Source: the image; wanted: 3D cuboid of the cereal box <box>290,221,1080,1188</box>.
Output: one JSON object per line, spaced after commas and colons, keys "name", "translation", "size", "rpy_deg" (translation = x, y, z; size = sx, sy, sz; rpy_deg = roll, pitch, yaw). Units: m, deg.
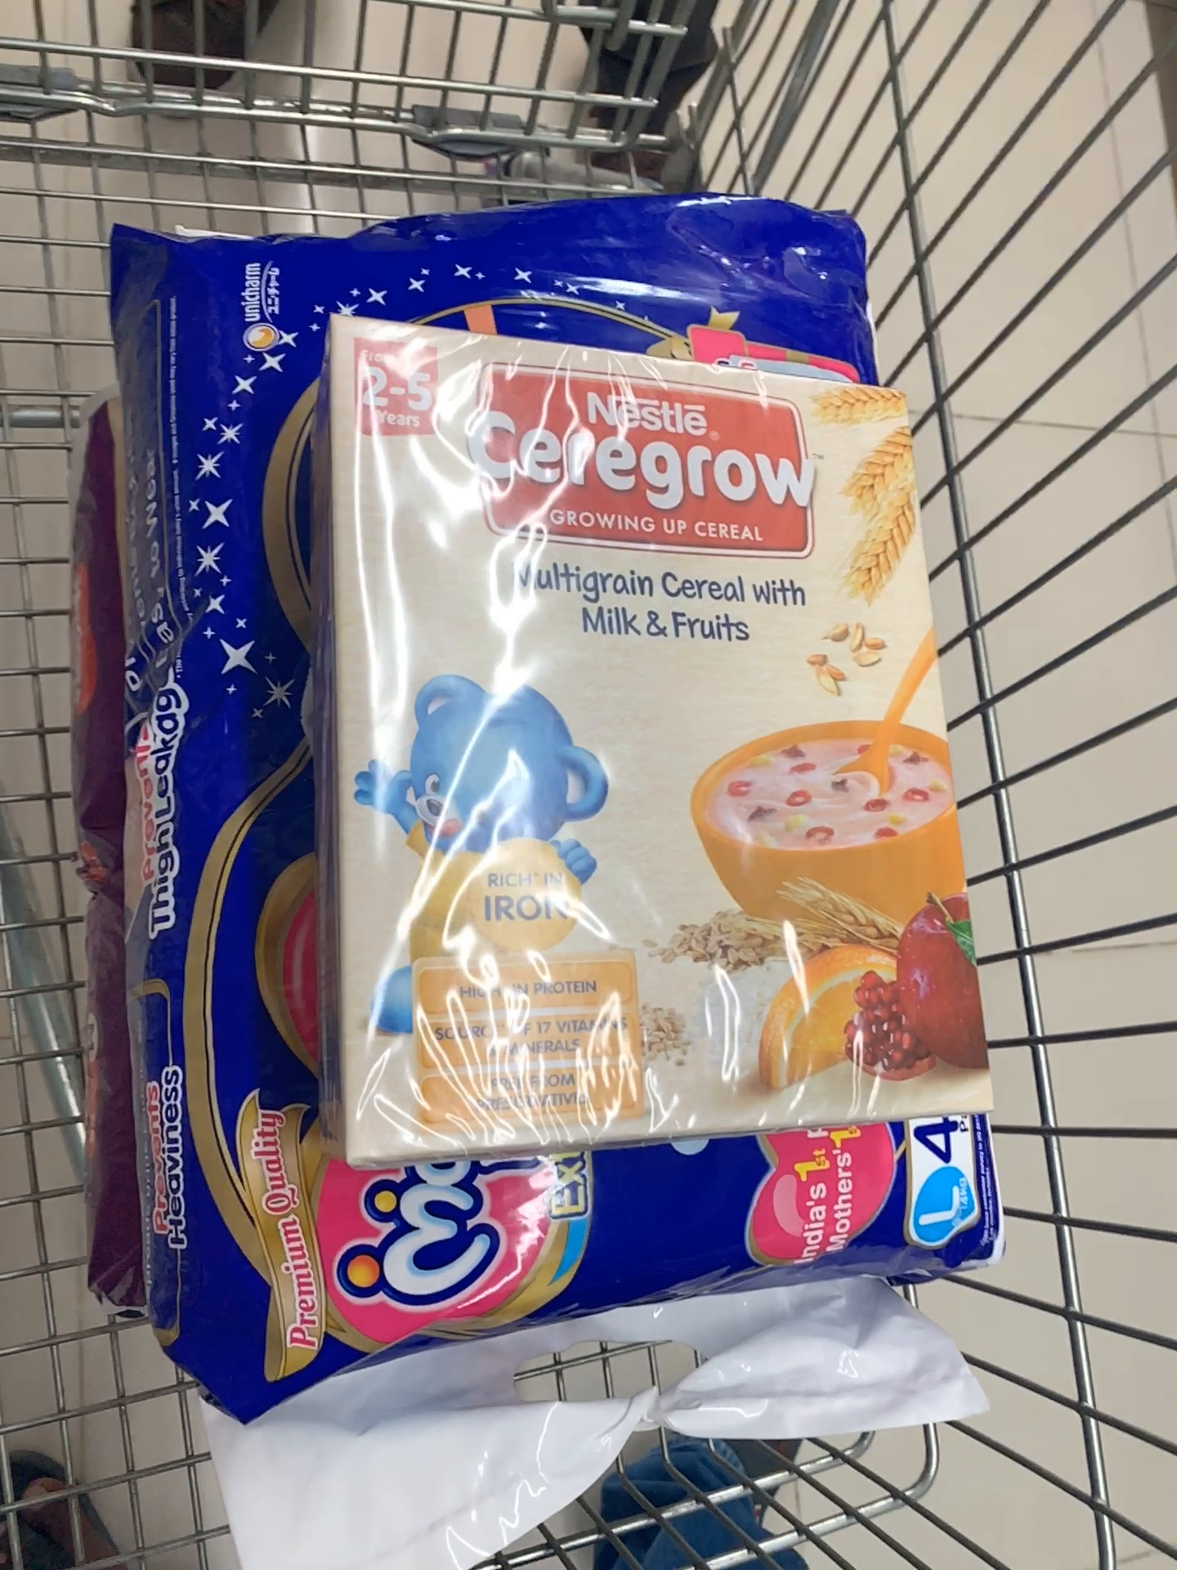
{"name": "cereal box", "translation": [0.016, -0.017, 0.277], "size": [0.160, 0.050, 0.190], "rpy_deg": [1, 77, -19]}
